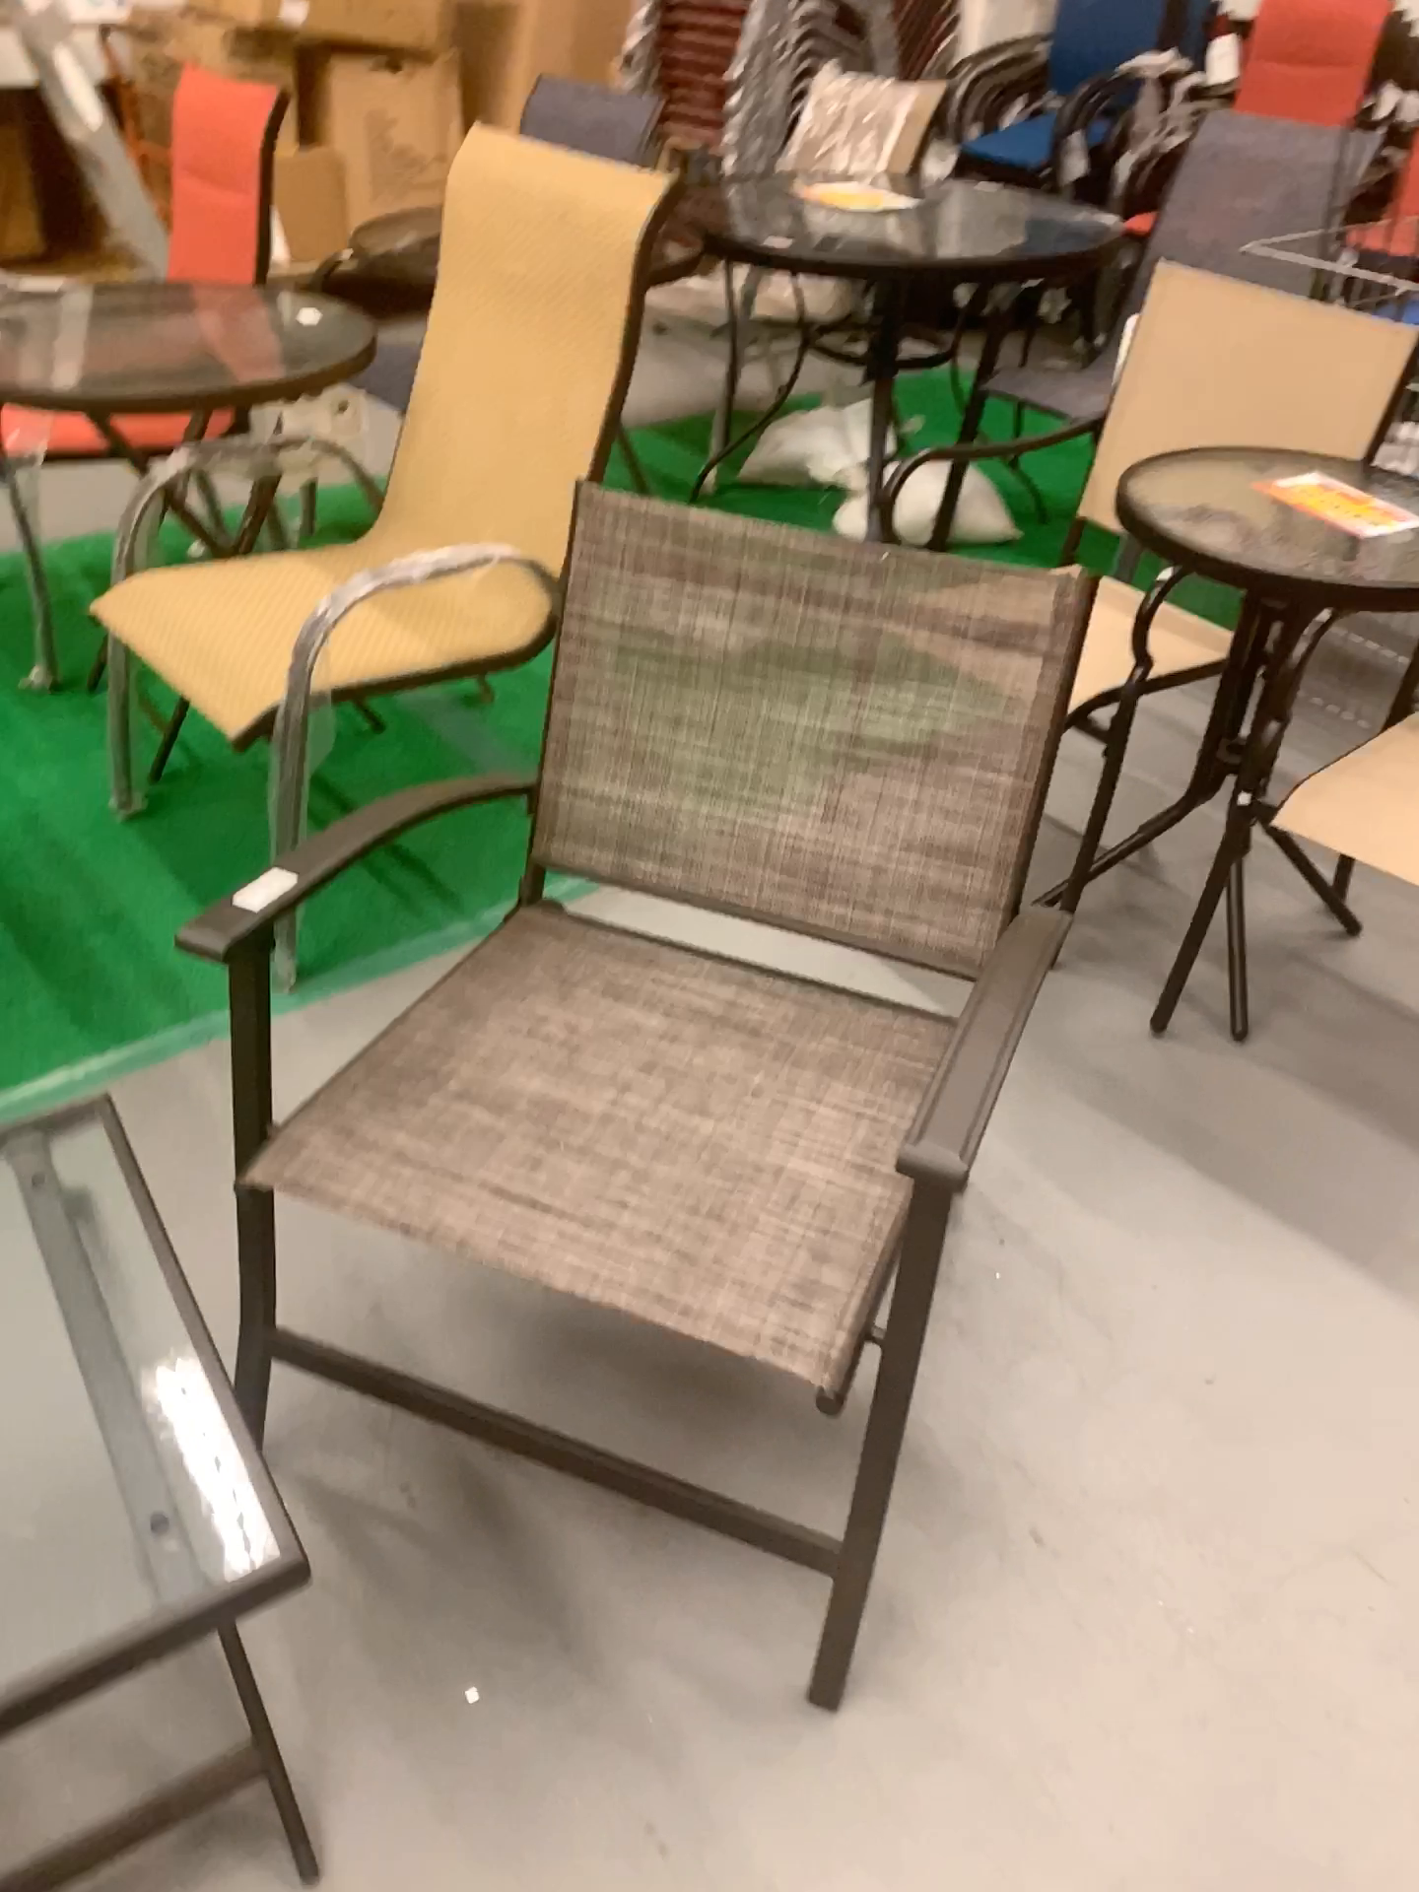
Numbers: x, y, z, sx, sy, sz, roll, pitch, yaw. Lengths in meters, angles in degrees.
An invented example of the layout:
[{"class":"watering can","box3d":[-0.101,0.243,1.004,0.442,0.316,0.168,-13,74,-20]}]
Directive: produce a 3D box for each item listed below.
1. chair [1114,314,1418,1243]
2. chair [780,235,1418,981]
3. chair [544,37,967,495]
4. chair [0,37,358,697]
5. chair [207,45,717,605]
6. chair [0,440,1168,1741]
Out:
[{"class":"chair","box3d":[1.003,-0.241,1.785,0.555,0.847,0.630,30,42,31]},{"class":"chair","box3d":[0.574,-0.535,2.154,0.630,0.837,0.576,-24,45,-35]},{"class":"chair","box3d":[0.092,-1.946,4.085,0.870,0.996,0.696,-22,44,-33]},{"class":"chair","box3d":[-1.150,-1.111,2.726,0.669,0.957,0.677,-19,42,-31]},{"class":"chair","box3d":[-0.552,-1.432,3.259,0.770,0.957,0.736,-24,45,-35]},{"class":"chair","box3d":[-0.036,0.071,1.370,0.674,0.778,0.772,14,38,14]}]
